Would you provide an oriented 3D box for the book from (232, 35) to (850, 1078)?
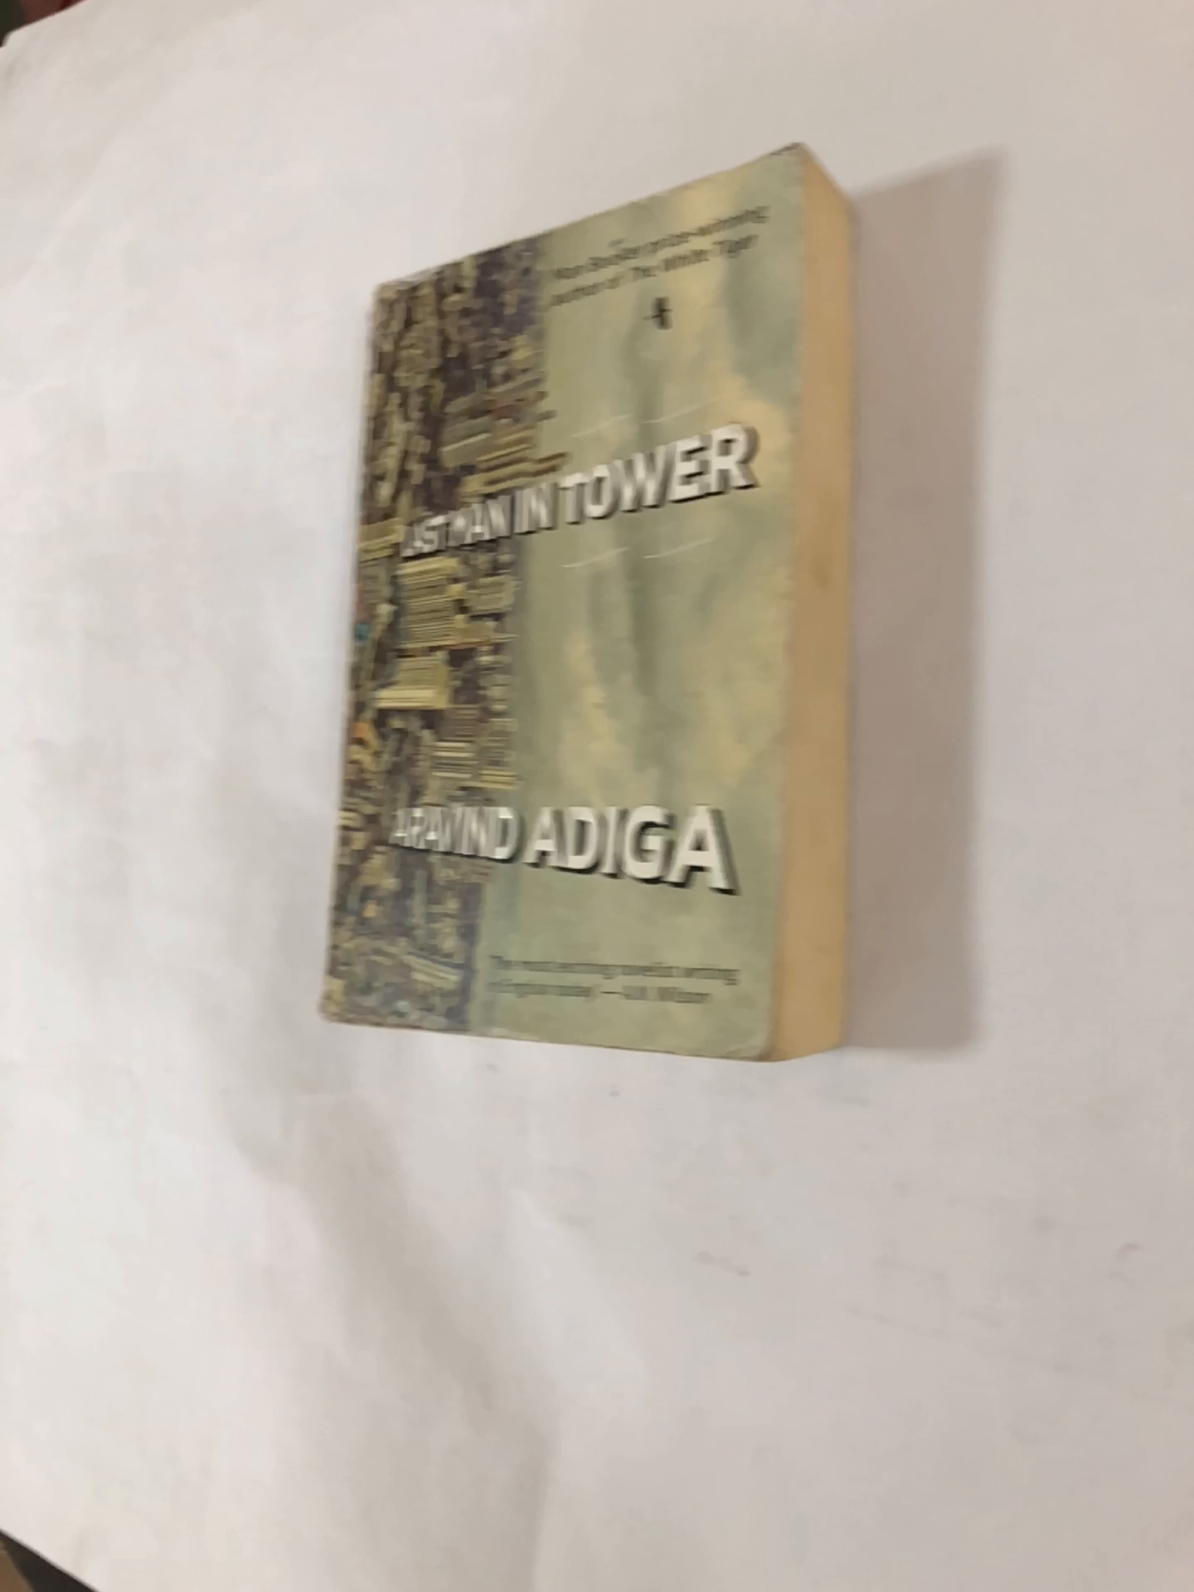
[{"bbox_3d":[-0.016,-0.049,0.324,0.151,0.030,0.220,-4,79,34],"label":"book"}]
